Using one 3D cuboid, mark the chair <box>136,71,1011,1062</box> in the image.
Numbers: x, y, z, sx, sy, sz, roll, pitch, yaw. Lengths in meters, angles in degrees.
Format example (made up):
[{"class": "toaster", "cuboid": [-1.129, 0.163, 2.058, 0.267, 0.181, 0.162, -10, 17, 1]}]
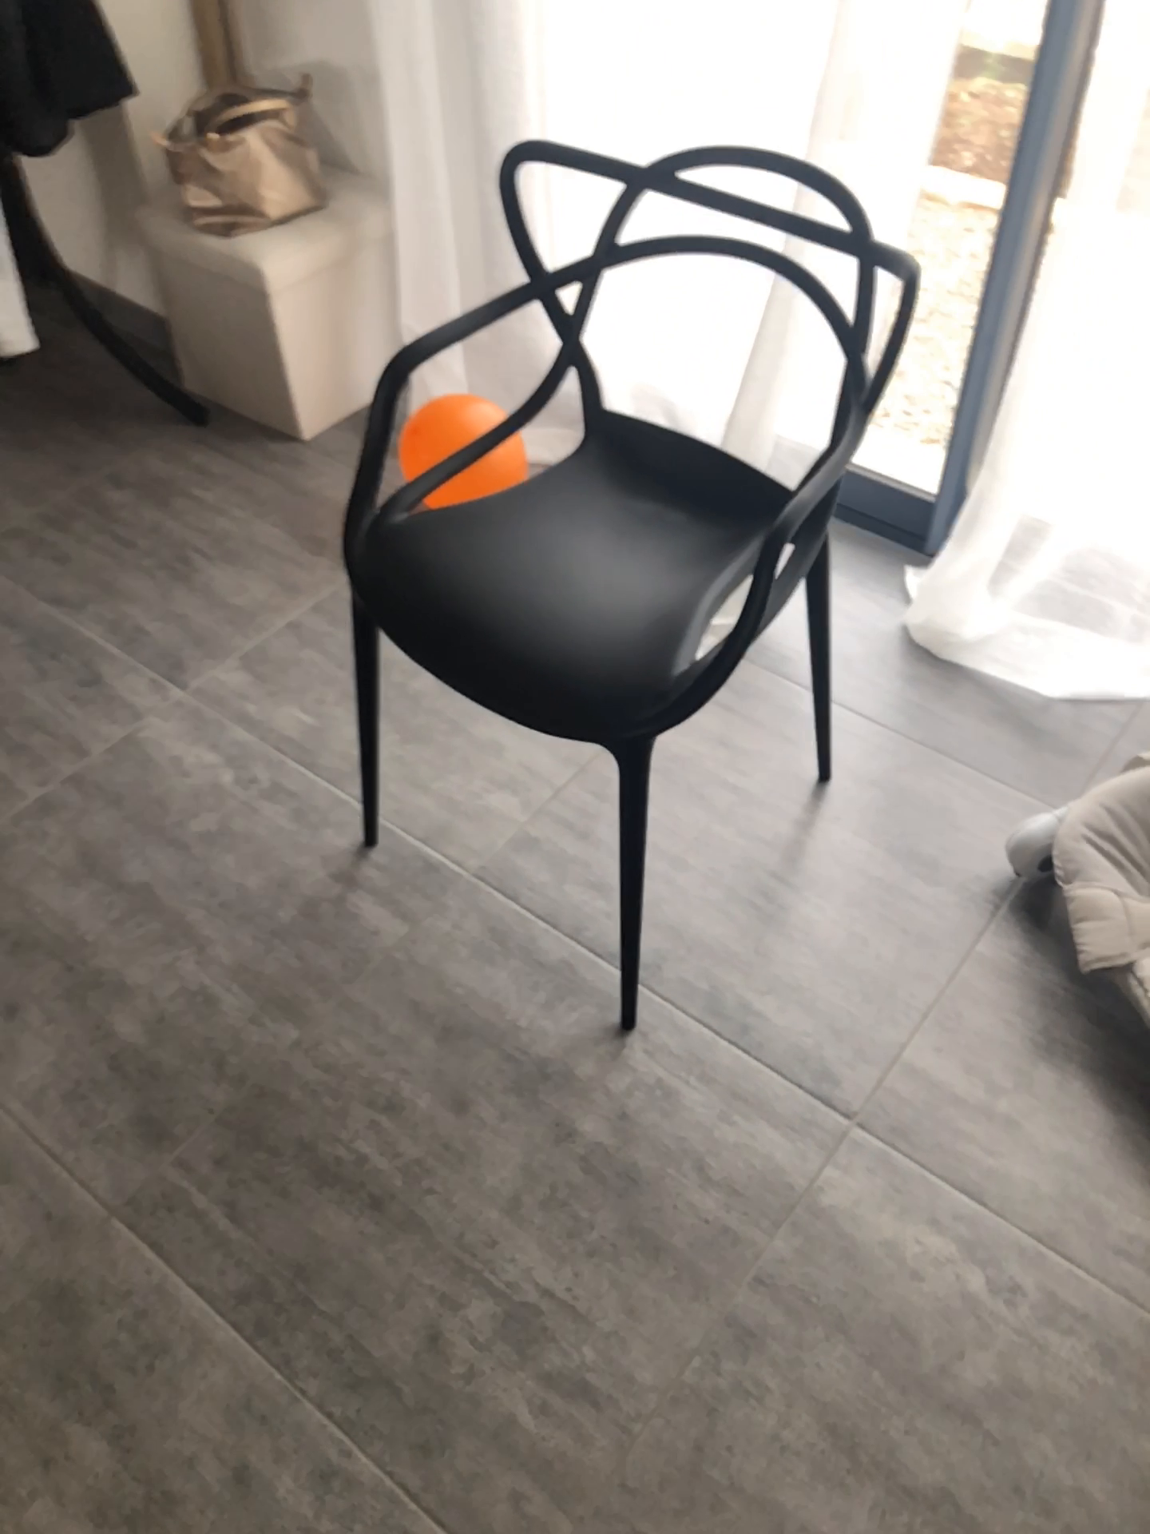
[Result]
[{"class": "chair", "cuboid": [0.013, -0.227, 1.456, 0.563, 0.795, 0.588, 31, 55, 27]}]
